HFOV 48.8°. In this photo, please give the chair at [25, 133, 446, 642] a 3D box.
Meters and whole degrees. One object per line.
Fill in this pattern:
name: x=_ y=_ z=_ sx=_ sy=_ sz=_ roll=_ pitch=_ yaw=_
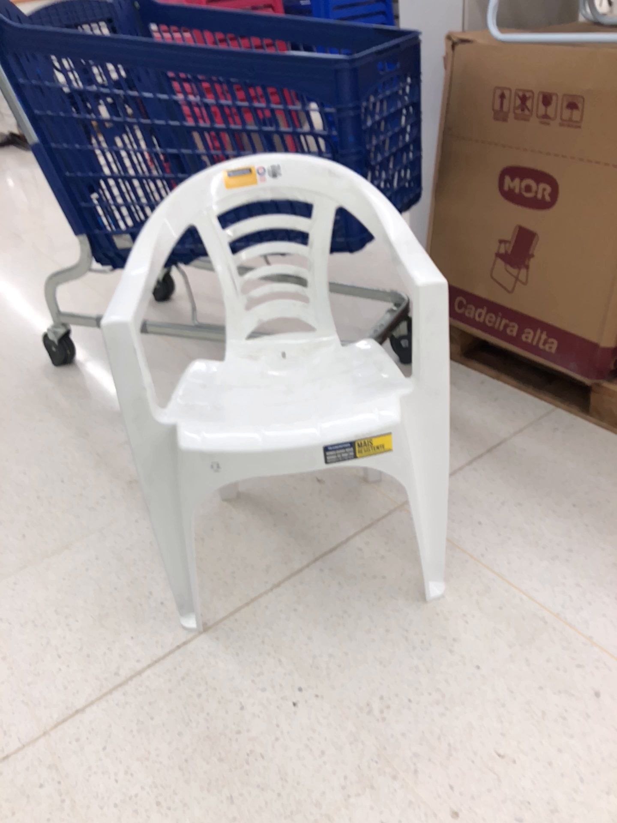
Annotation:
chair: x=-0.078 y=-0.057 z=1.229 sx=0.520 sy=0.695 sz=0.504 roll=-8 pitch=32 yaw=-2
